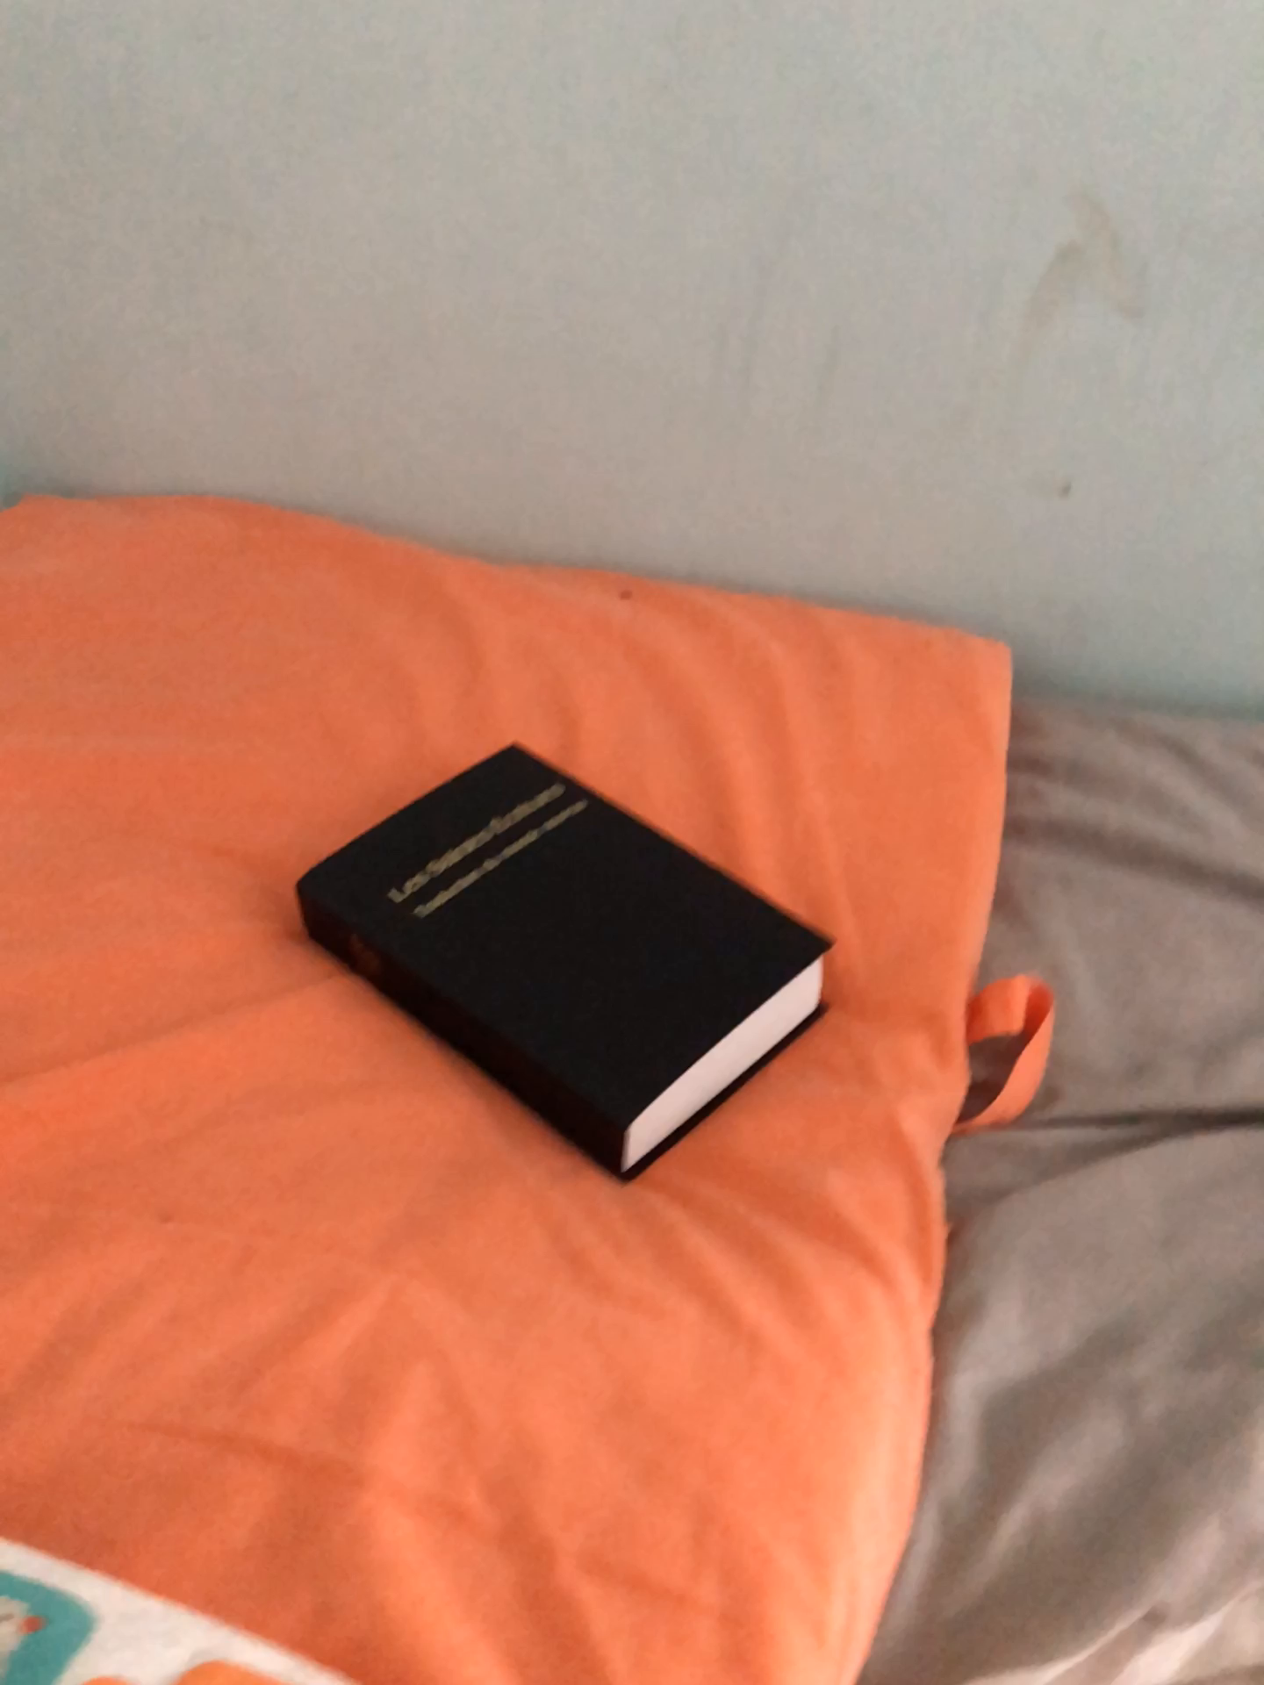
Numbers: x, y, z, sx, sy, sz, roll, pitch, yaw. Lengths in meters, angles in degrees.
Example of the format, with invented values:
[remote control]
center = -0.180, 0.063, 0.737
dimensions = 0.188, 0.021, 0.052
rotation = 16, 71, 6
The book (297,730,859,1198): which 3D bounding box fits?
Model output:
[book]
center = -0.022, 0.036, 0.537
dimensions = 0.174, 0.030, 0.127
rotation = 34, 51, 28
